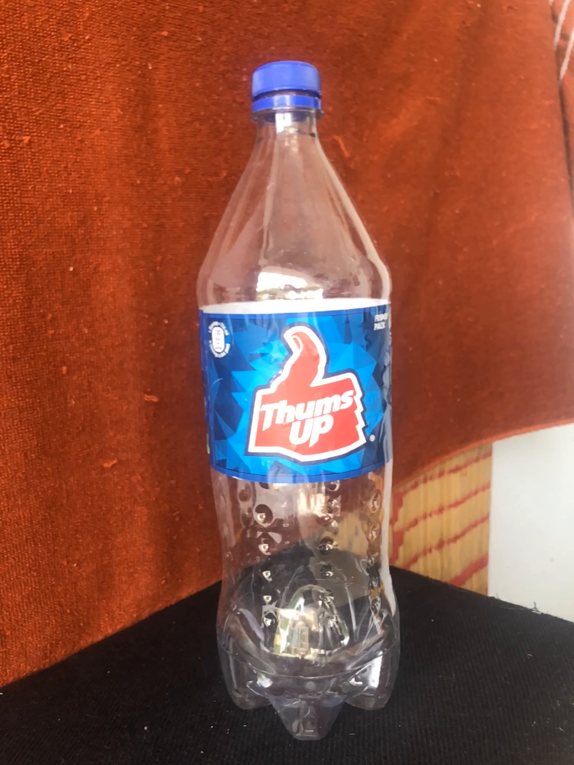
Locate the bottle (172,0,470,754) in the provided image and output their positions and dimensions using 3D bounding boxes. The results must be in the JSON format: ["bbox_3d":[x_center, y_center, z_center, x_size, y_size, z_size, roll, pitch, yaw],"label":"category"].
[{"bbox_3d":[0.007,-0.002,0.283,0.100,0.289,0.090,-1,10,-5],"label":"bottle"}]
